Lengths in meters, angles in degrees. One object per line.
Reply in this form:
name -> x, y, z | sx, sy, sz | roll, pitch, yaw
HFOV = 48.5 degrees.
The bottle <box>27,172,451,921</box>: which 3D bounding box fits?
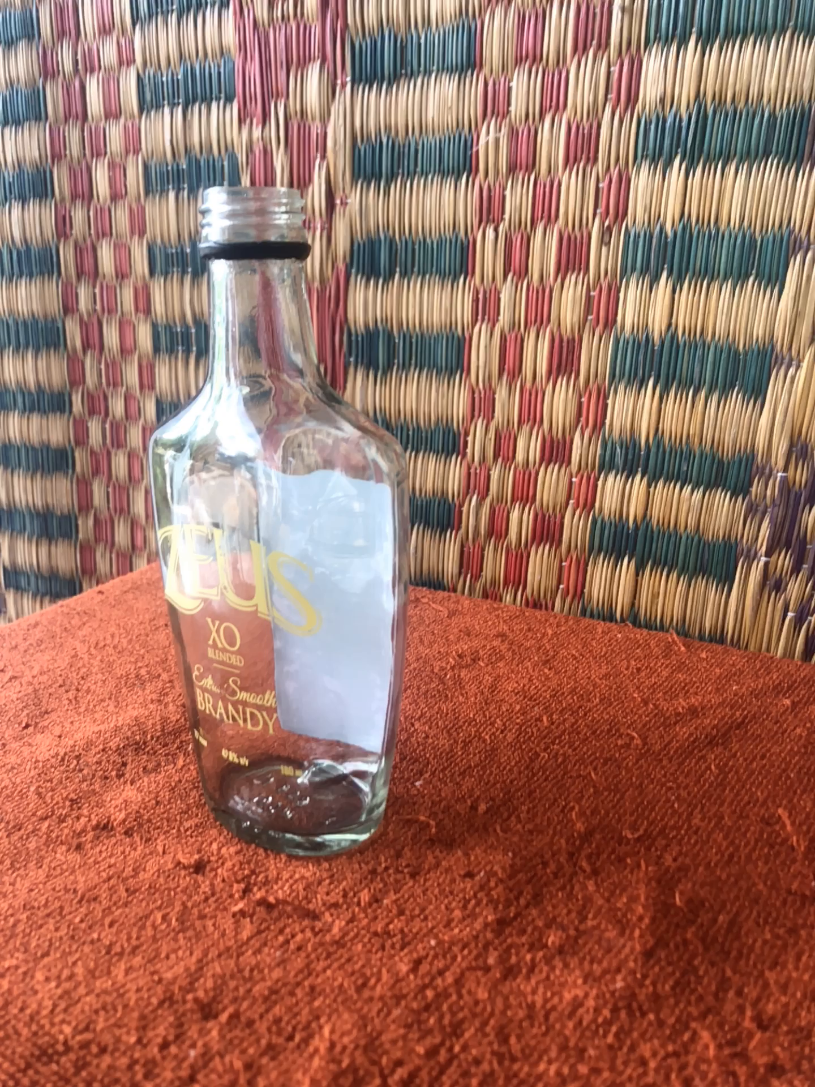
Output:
bottle -> -0.035, -0.003, 0.209 | 0.080, 0.149, 0.040 | 13, 24, 36
